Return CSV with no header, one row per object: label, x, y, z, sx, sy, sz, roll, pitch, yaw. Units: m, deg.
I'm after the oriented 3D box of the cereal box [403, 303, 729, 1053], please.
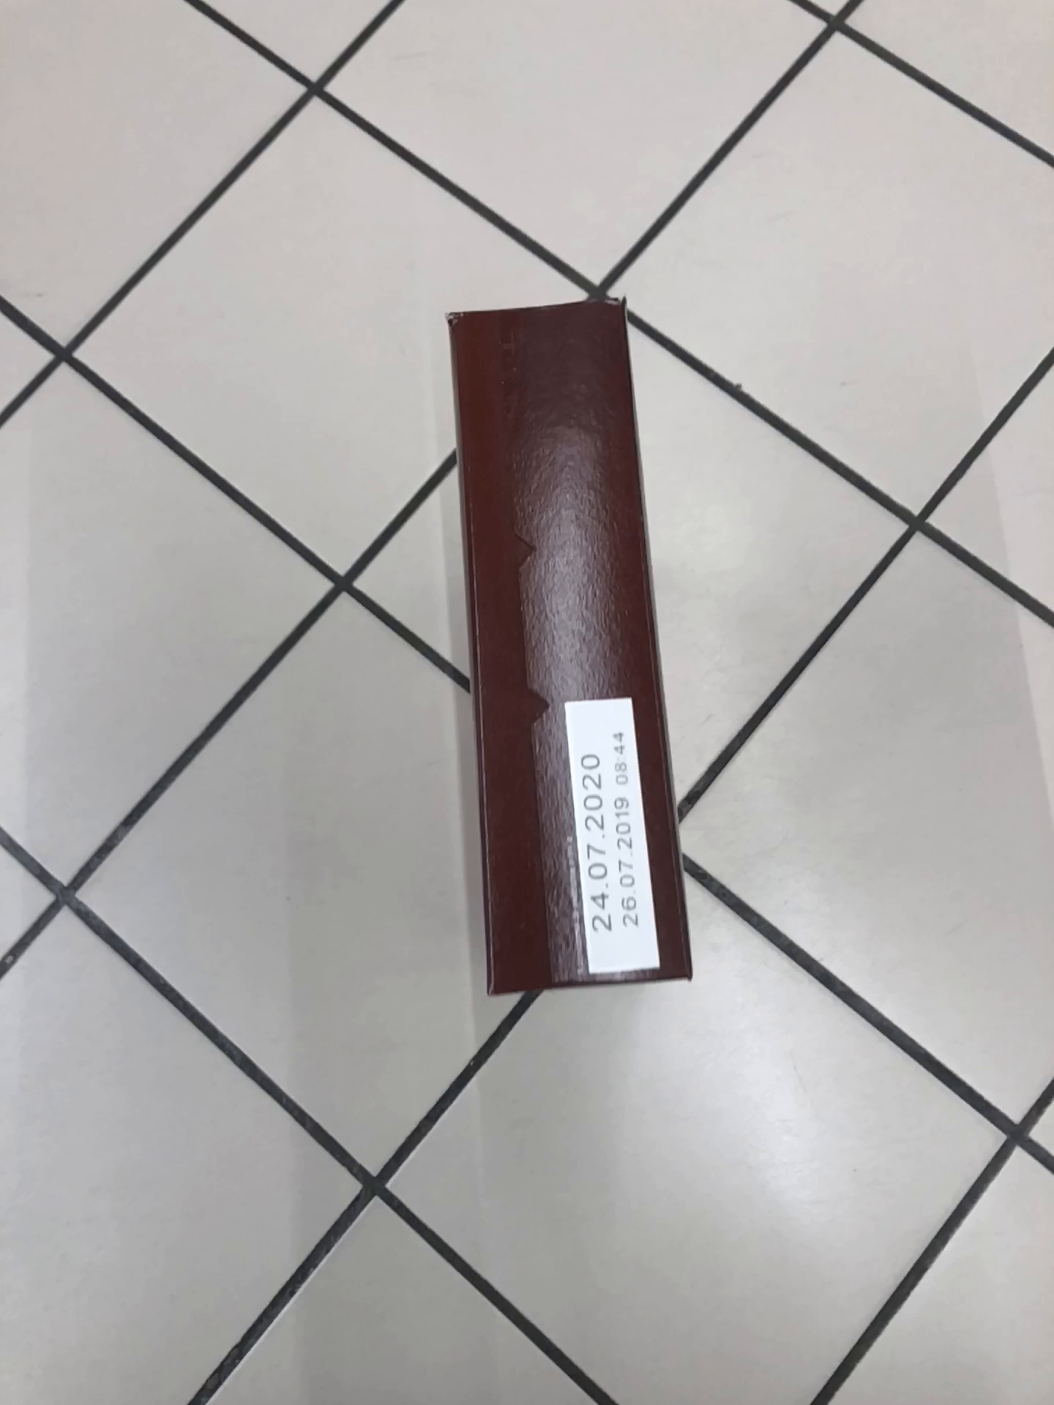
cereal box,0.015,0.011,0.429,0.070,0.240,0.200,-5,78,3
